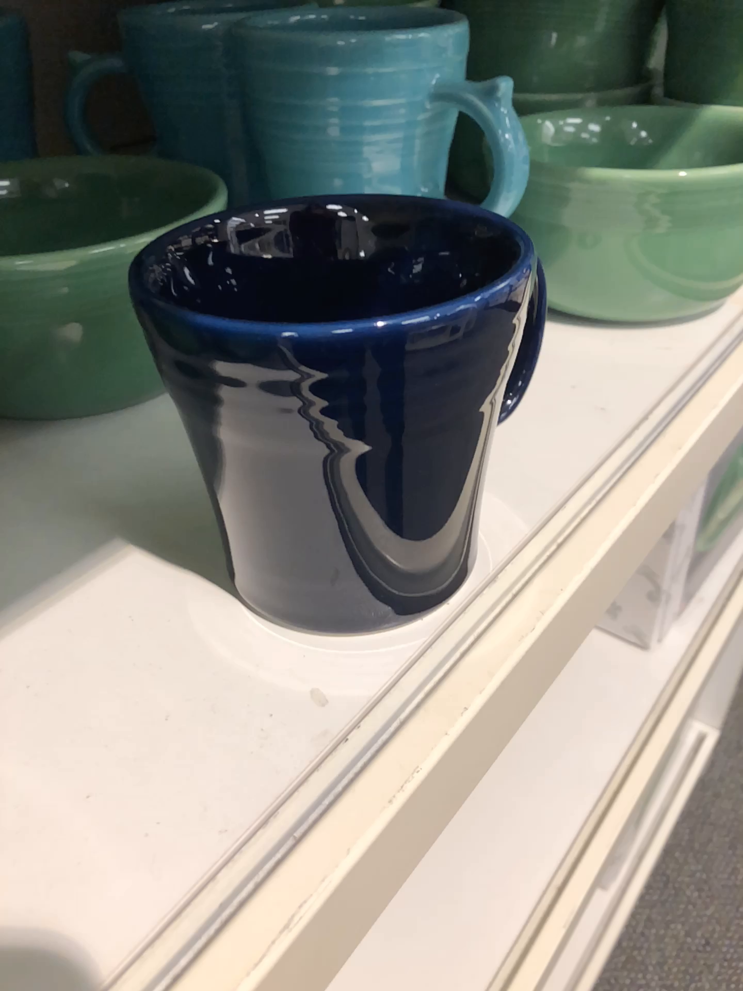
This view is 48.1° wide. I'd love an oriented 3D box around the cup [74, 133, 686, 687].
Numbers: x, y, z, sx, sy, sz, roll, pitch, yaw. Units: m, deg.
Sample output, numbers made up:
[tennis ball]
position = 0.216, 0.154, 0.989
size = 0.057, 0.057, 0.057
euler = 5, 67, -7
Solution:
[cup]
position = 0.011, -0.039, 0.245
size = 0.093, 0.085, 0.144
euler = 25, 44, 30
